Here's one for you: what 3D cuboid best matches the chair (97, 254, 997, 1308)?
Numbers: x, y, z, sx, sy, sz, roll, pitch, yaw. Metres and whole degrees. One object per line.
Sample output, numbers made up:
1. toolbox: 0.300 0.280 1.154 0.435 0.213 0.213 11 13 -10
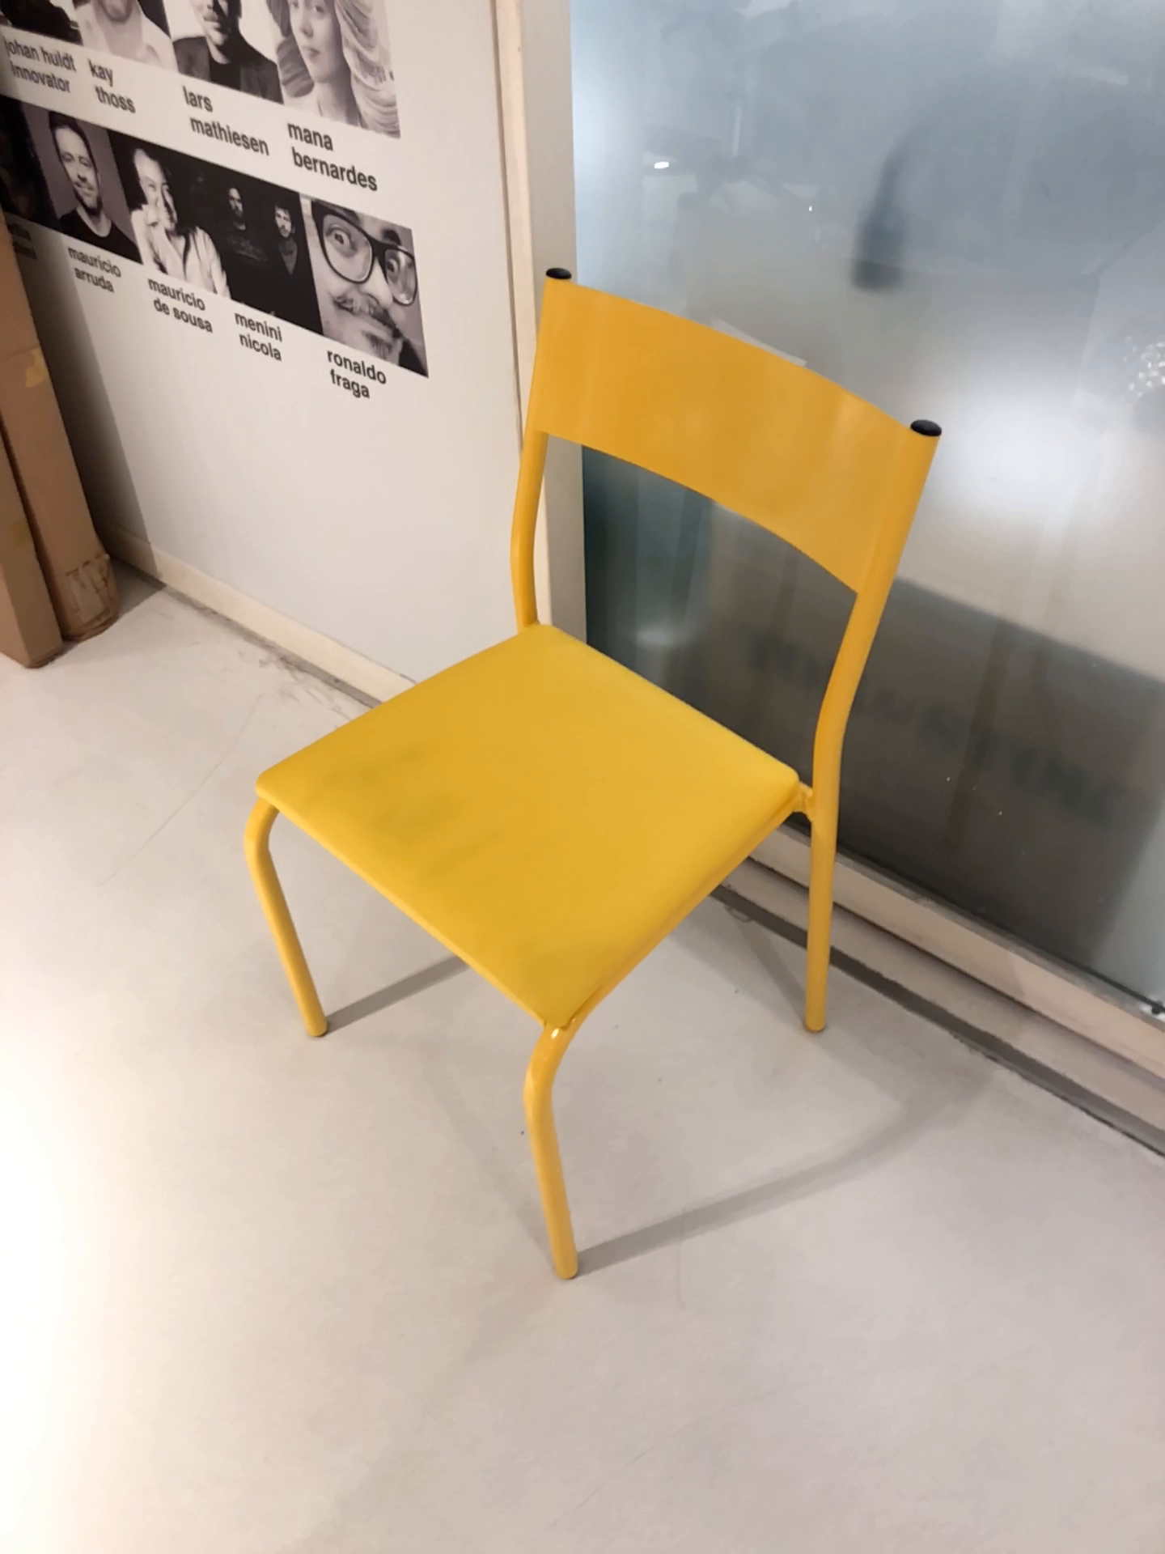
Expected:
1. chair: -0.016 0.014 1.290 0.492 0.784 0.522 34 55 30
